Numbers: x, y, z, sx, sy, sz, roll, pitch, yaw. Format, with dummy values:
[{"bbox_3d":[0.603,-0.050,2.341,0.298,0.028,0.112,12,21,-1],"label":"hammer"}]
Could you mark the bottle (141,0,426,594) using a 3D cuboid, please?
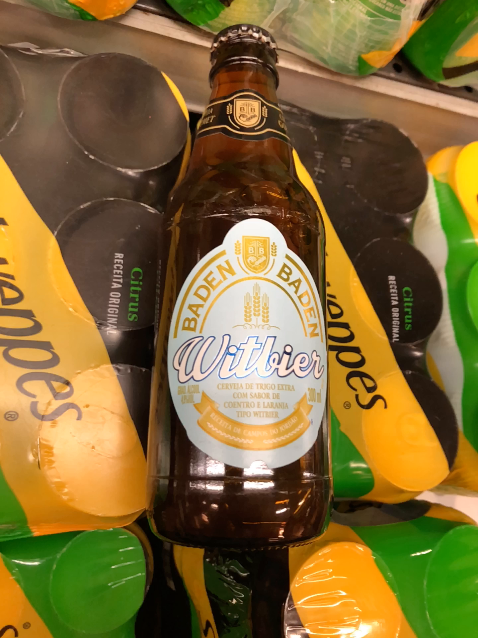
[{"bbox_3d":[0.014,-0.024,0.187,0.070,0.060,0.200,6,78,-21],"label":"bottle"}]
